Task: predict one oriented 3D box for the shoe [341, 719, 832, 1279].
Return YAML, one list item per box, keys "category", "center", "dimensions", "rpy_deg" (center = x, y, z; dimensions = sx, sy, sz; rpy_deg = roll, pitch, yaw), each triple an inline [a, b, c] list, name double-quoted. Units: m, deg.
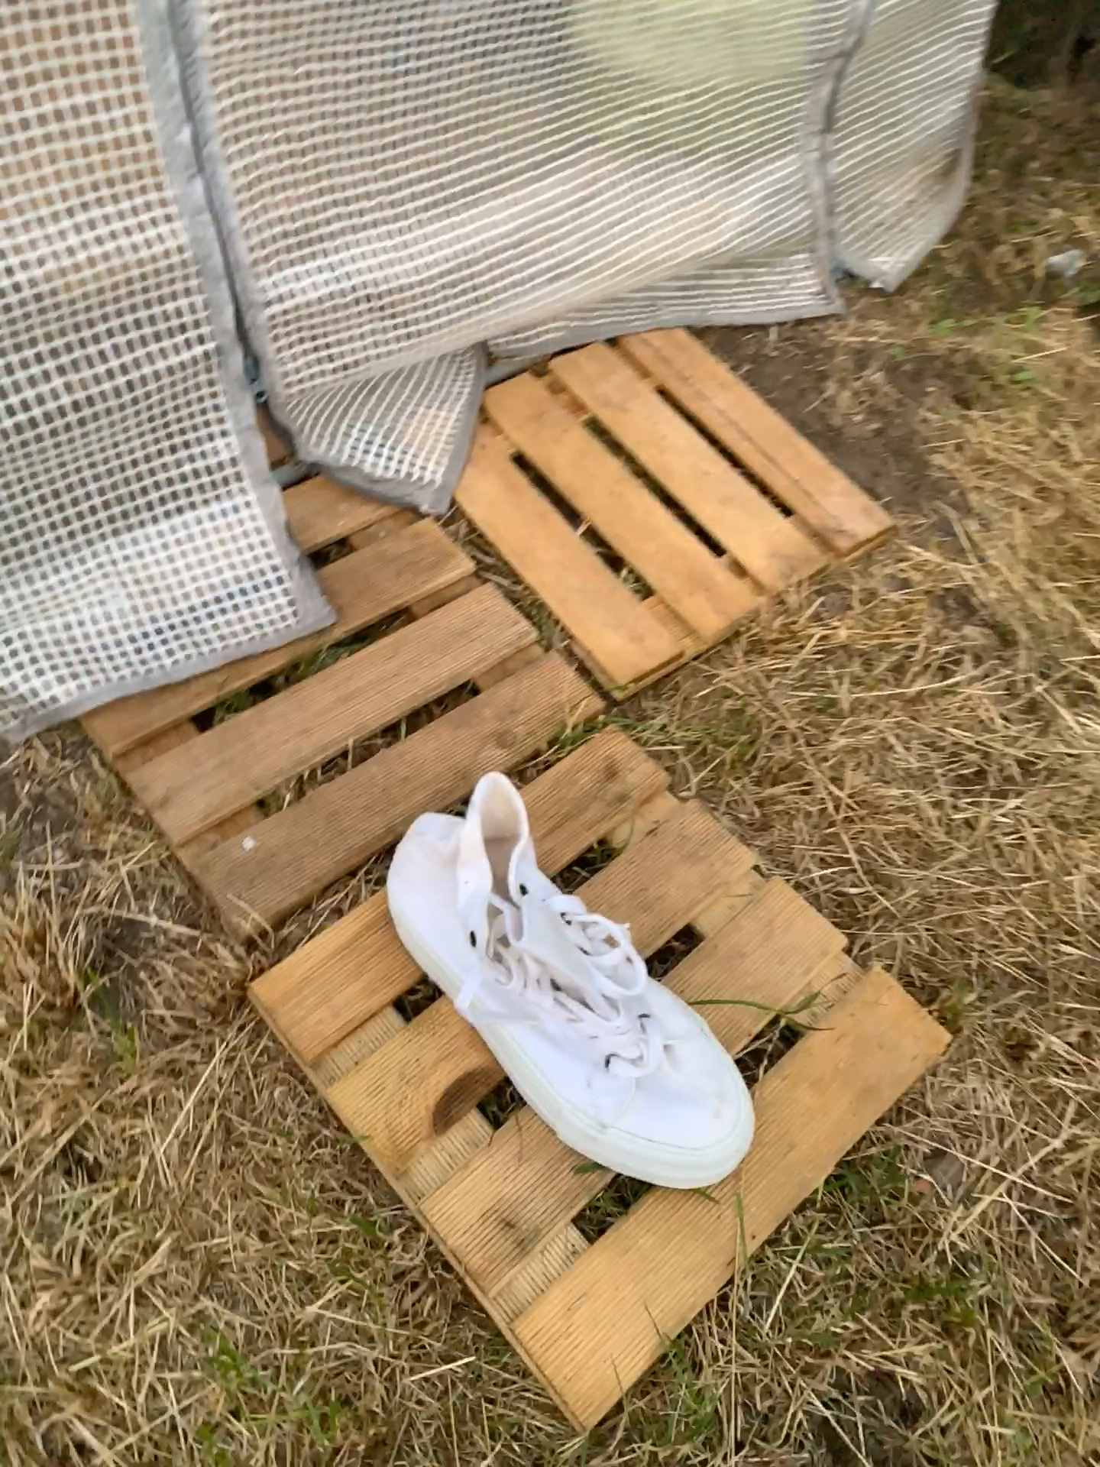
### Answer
- category: "shoe"
  center: [0.008, 0.136, 0.610]
  dimensions: [0.100, 0.129, 0.261]
  rpy_deg: [-32, 58, -24]
